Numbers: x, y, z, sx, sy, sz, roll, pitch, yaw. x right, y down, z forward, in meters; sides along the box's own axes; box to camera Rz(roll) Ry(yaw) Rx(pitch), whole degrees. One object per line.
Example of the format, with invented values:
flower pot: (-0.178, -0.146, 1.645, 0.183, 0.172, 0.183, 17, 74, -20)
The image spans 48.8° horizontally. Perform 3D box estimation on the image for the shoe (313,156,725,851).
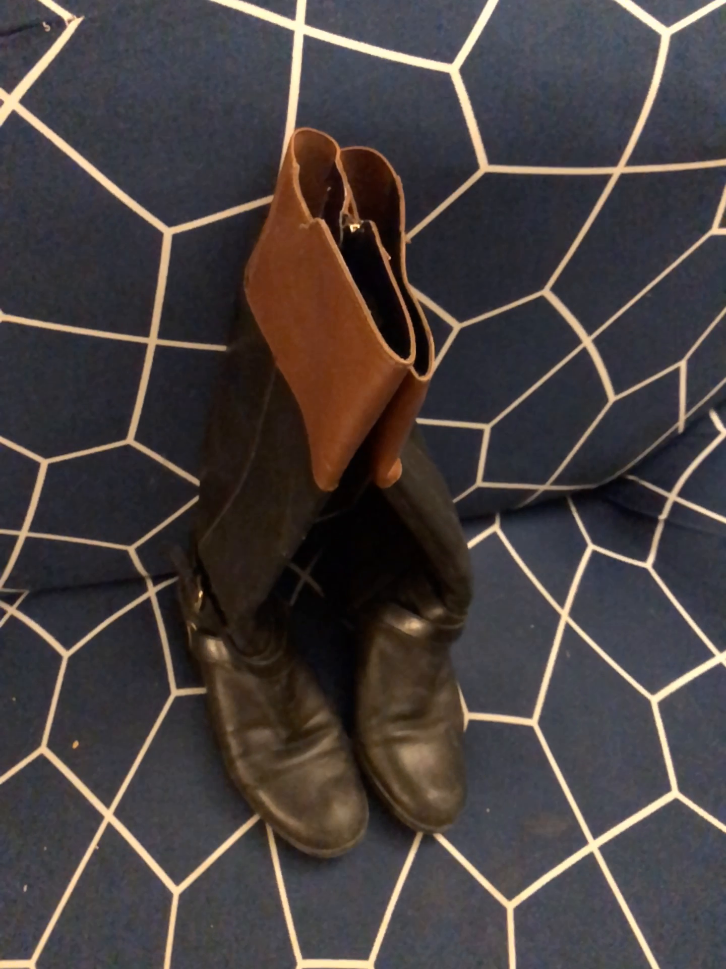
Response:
shoe: (0.039, 0.052, 0.470, 0.100, 0.378, 0.251, -4, 60, -8)

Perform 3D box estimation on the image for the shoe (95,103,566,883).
shoe: (-0.054, 0.054, 0.482, 0.110, 0.428, 0.271, -11, 60, -15)
